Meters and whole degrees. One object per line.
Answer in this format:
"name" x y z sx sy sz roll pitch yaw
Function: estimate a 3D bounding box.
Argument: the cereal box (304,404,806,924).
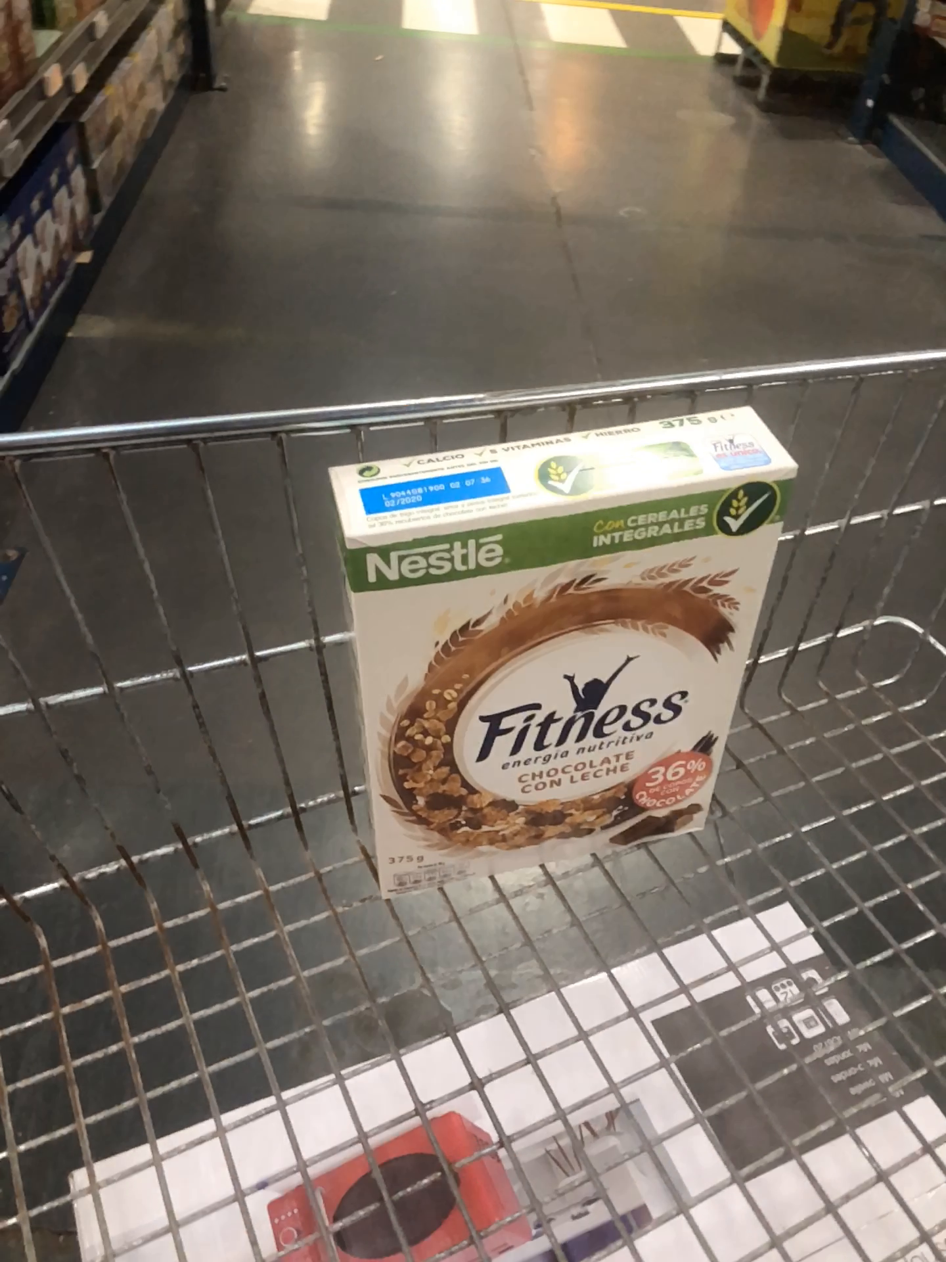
"cereal box" 0.032 0.028 0.524 0.200 0.259 0.060 -10 44 -11
